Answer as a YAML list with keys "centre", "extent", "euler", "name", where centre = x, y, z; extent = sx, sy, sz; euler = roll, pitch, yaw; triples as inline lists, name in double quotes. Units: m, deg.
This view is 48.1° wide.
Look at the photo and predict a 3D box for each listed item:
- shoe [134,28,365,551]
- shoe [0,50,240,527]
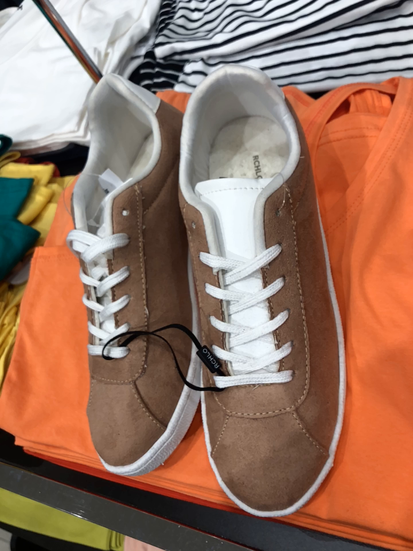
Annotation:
- centre: [0.029, 0.008, 0.272]
  extent: [0.090, 0.100, 0.251]
  euler: [-7, 74, 25]
  name: "shoe"
- centre: [-0.045, 0.005, 0.300]
  extent: [0.090, 0.100, 0.250]
  euler: [-3, 75, 27]
  name: "shoe"
